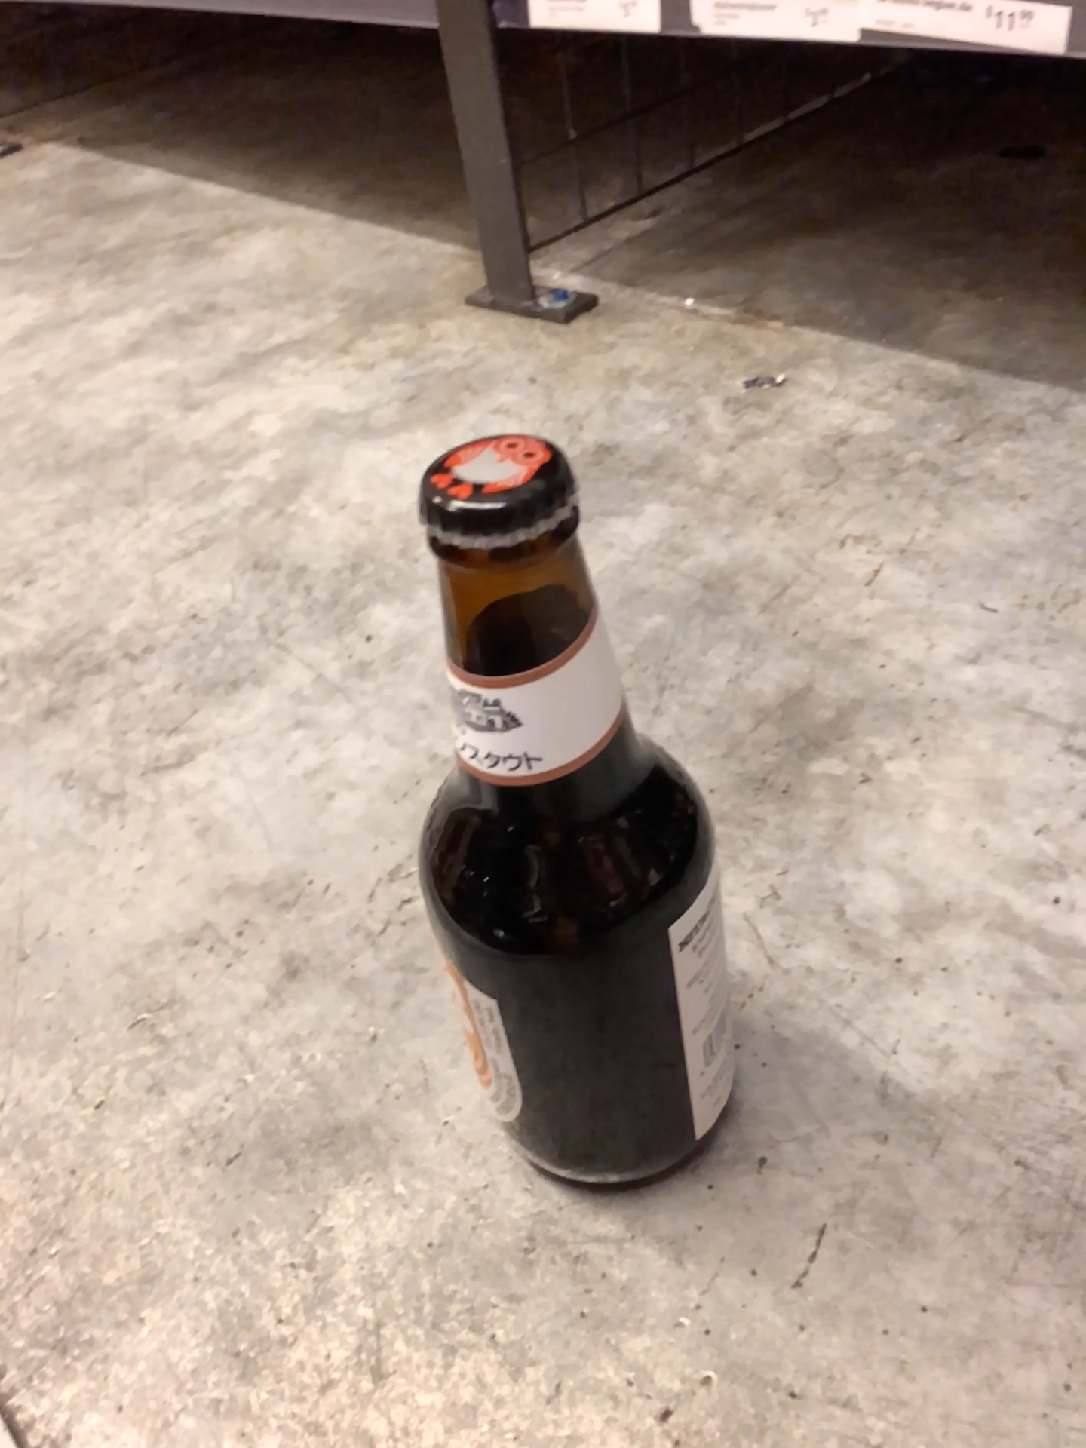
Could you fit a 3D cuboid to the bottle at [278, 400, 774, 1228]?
[{"bbox_3d":[0.009,0.032,0.260,0.069,0.180,0.063,-7,39,6],"label":"bottle"}]
